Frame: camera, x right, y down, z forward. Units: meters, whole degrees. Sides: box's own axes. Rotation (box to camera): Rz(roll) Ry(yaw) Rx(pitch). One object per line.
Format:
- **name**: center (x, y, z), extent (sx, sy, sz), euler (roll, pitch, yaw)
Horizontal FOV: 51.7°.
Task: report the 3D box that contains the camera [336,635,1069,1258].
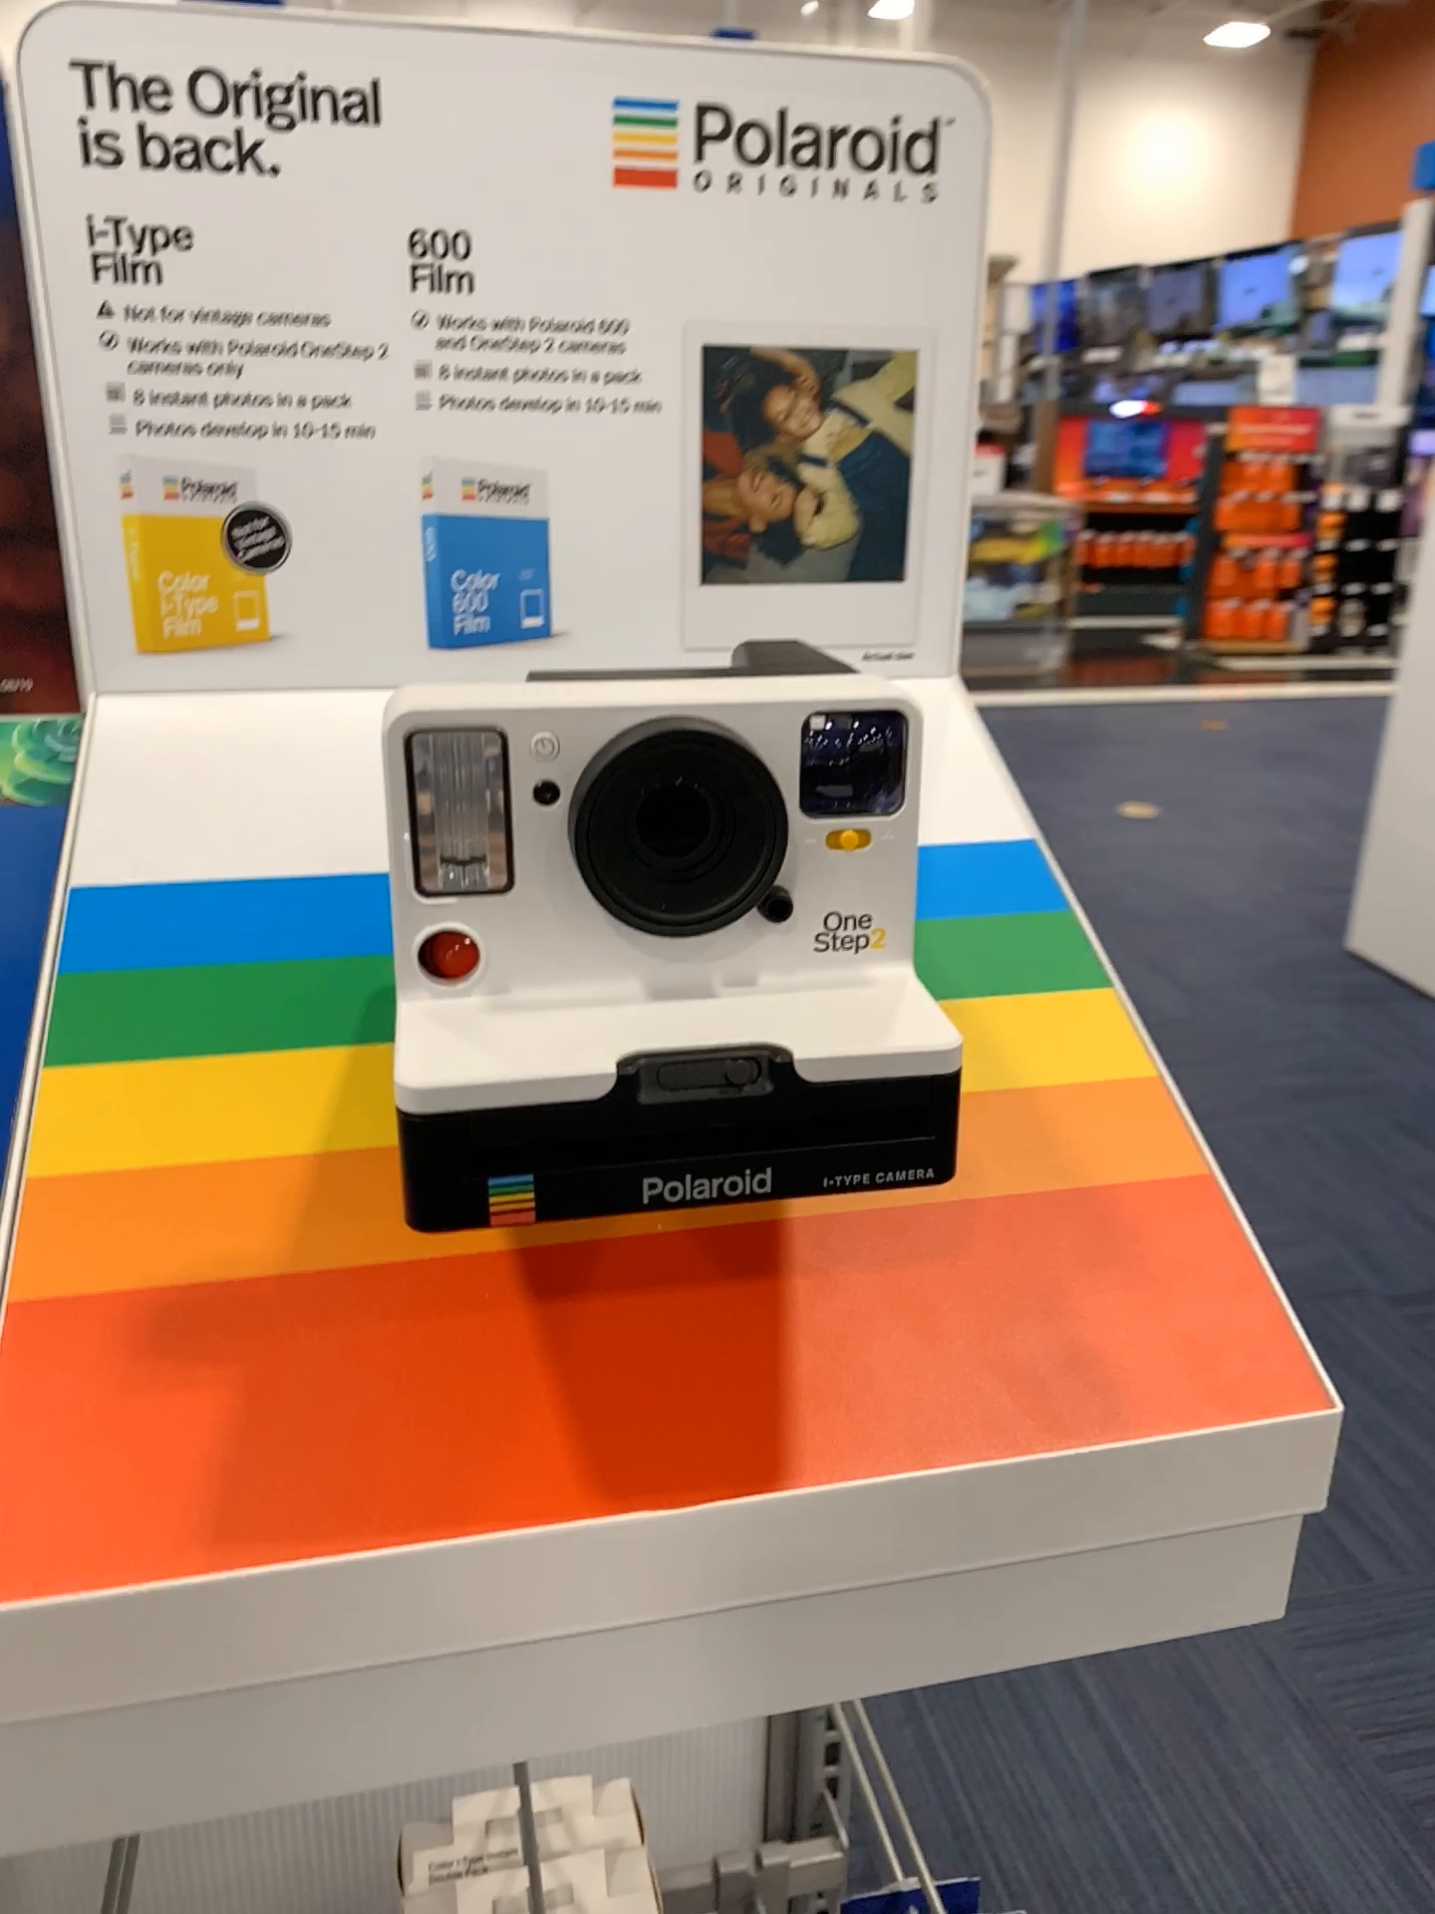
- **camera**: center (-0.017, -0.017, 0.340), extent (0.130, 0.090, 0.151), euler (-3, 21, -13)
